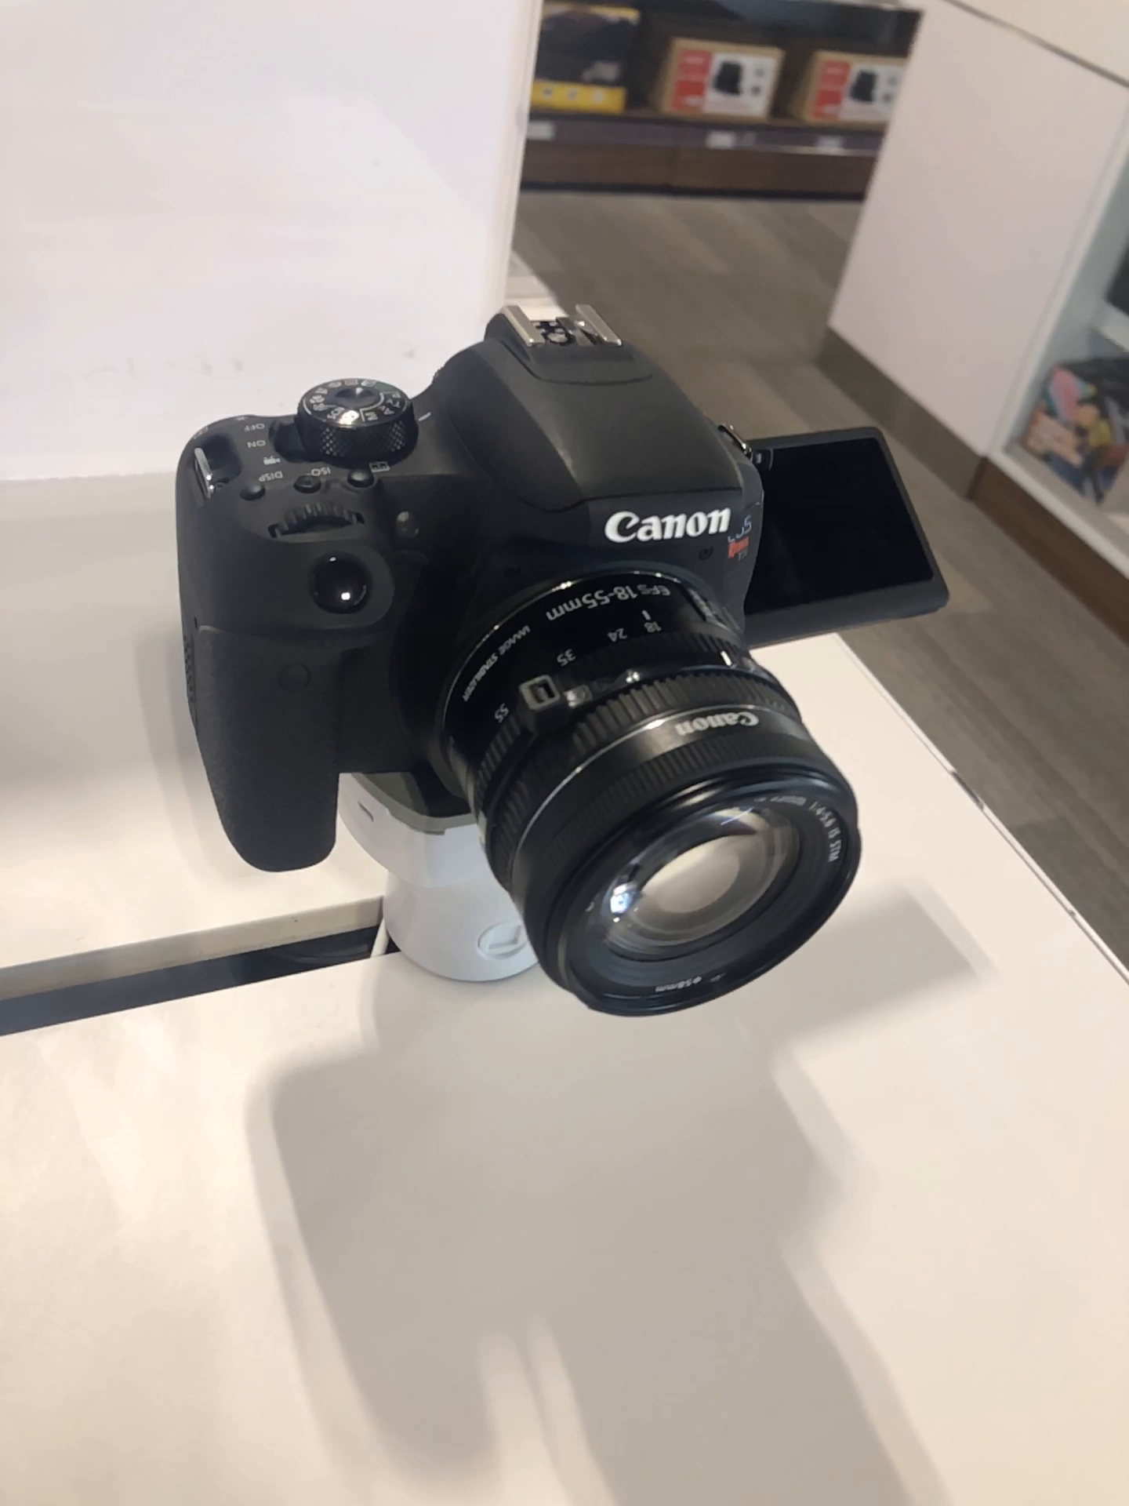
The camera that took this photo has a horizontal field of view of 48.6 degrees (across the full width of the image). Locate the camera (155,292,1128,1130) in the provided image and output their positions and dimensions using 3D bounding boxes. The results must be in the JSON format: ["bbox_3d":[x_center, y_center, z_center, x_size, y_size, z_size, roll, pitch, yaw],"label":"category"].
[{"bbox_3d":[0.035,-0.024,0.264,0.210,0.099,0.111,-10,45,-24],"label":"camera"}]
